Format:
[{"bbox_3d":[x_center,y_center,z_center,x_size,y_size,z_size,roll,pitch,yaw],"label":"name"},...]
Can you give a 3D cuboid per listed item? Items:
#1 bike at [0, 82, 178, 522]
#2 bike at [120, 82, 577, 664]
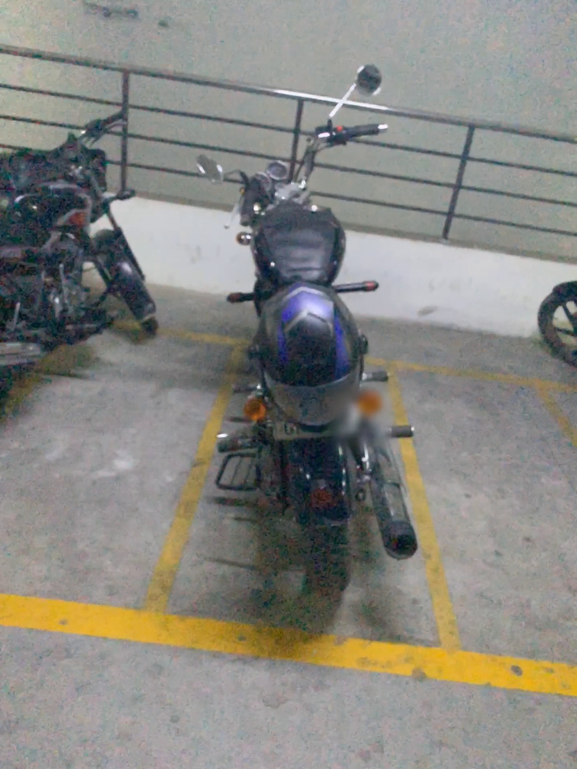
[{"bbox_3d":[-1.087,-0.488,2.351,0.593,1.193,1.509,15,29,12],"label":"bike"},{"bbox_3d":[-0.082,-0.221,2.074,0.842,1.304,1.673,3,28,-12],"label":"bike"}]
